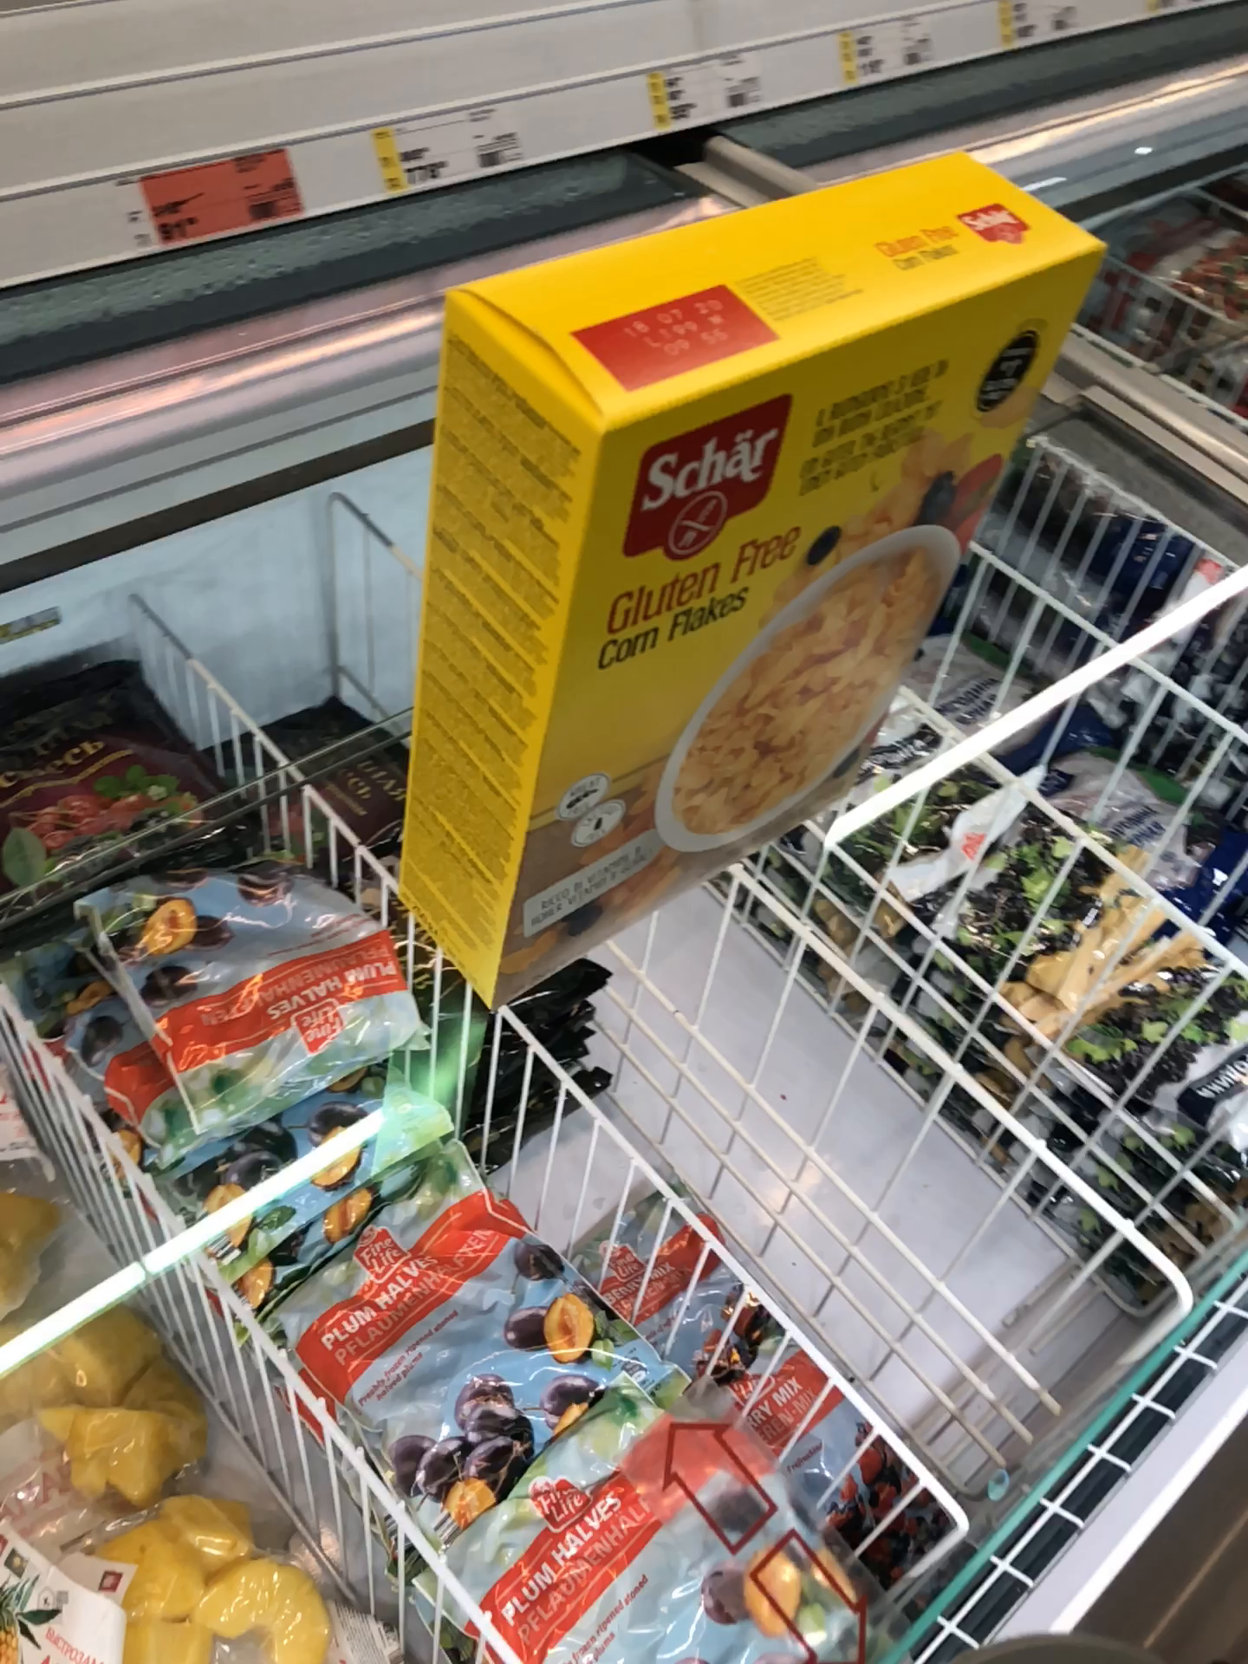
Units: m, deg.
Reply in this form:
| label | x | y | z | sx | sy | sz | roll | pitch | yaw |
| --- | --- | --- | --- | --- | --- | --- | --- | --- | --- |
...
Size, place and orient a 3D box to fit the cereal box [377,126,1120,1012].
| label | x | y | z | sx | sy | sz | roll | pitch | yaw |
| --- | --- | --- | --- | --- | --- | --- | --- | --- | --- |
| cereal box | 0.026 | -0.075 | 0.438 | 0.201 | 0.238 | 0.060 | -30 | 63 | -31 |
